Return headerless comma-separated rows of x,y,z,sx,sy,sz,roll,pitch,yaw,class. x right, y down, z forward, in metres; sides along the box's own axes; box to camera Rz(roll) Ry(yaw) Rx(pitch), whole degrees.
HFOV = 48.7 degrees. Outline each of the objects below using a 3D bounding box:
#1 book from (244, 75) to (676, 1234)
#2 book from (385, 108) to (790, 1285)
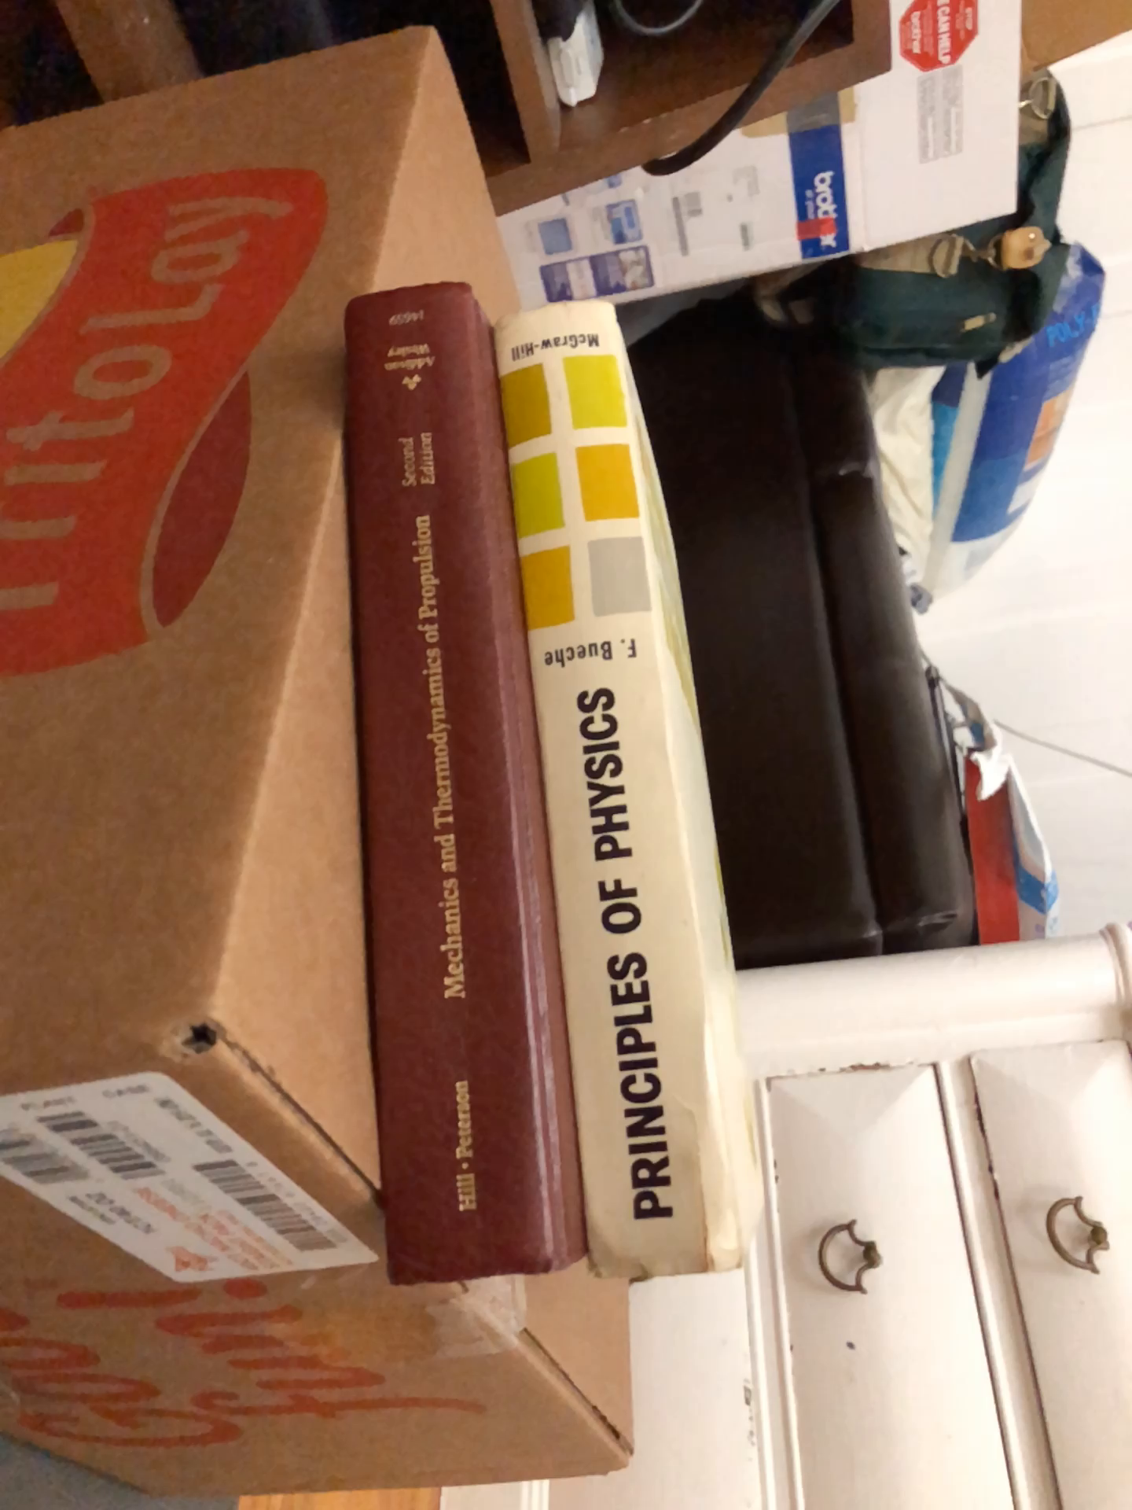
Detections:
-0.022,-0.012,0.339,0.180,0.040,0.250,51,30,-68,book
0.013,-0.005,0.343,0.180,0.040,0.250,46,35,-70,book
